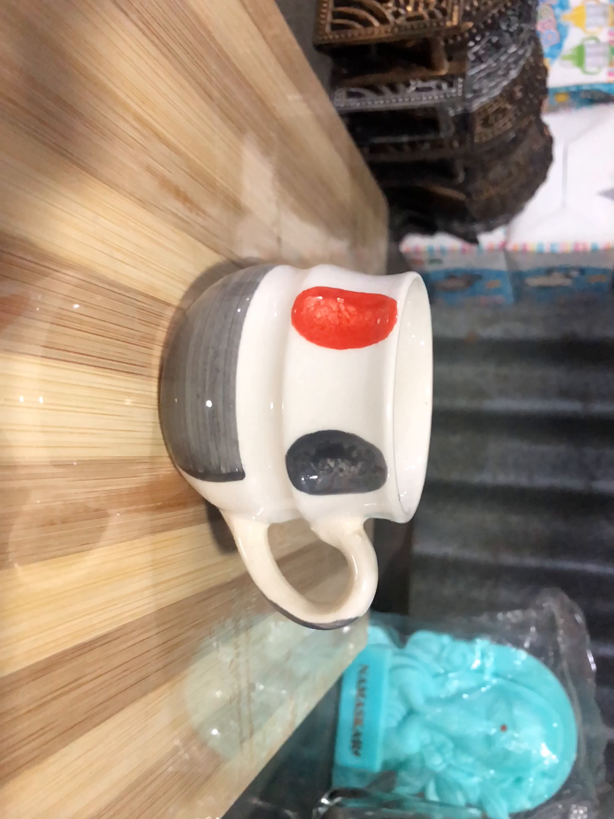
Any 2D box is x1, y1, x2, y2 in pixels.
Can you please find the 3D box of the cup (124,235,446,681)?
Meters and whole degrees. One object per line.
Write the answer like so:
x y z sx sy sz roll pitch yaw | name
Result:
0.000 0.006 0.173 0.060 0.060 0.090 -32 123 -71 | cup
